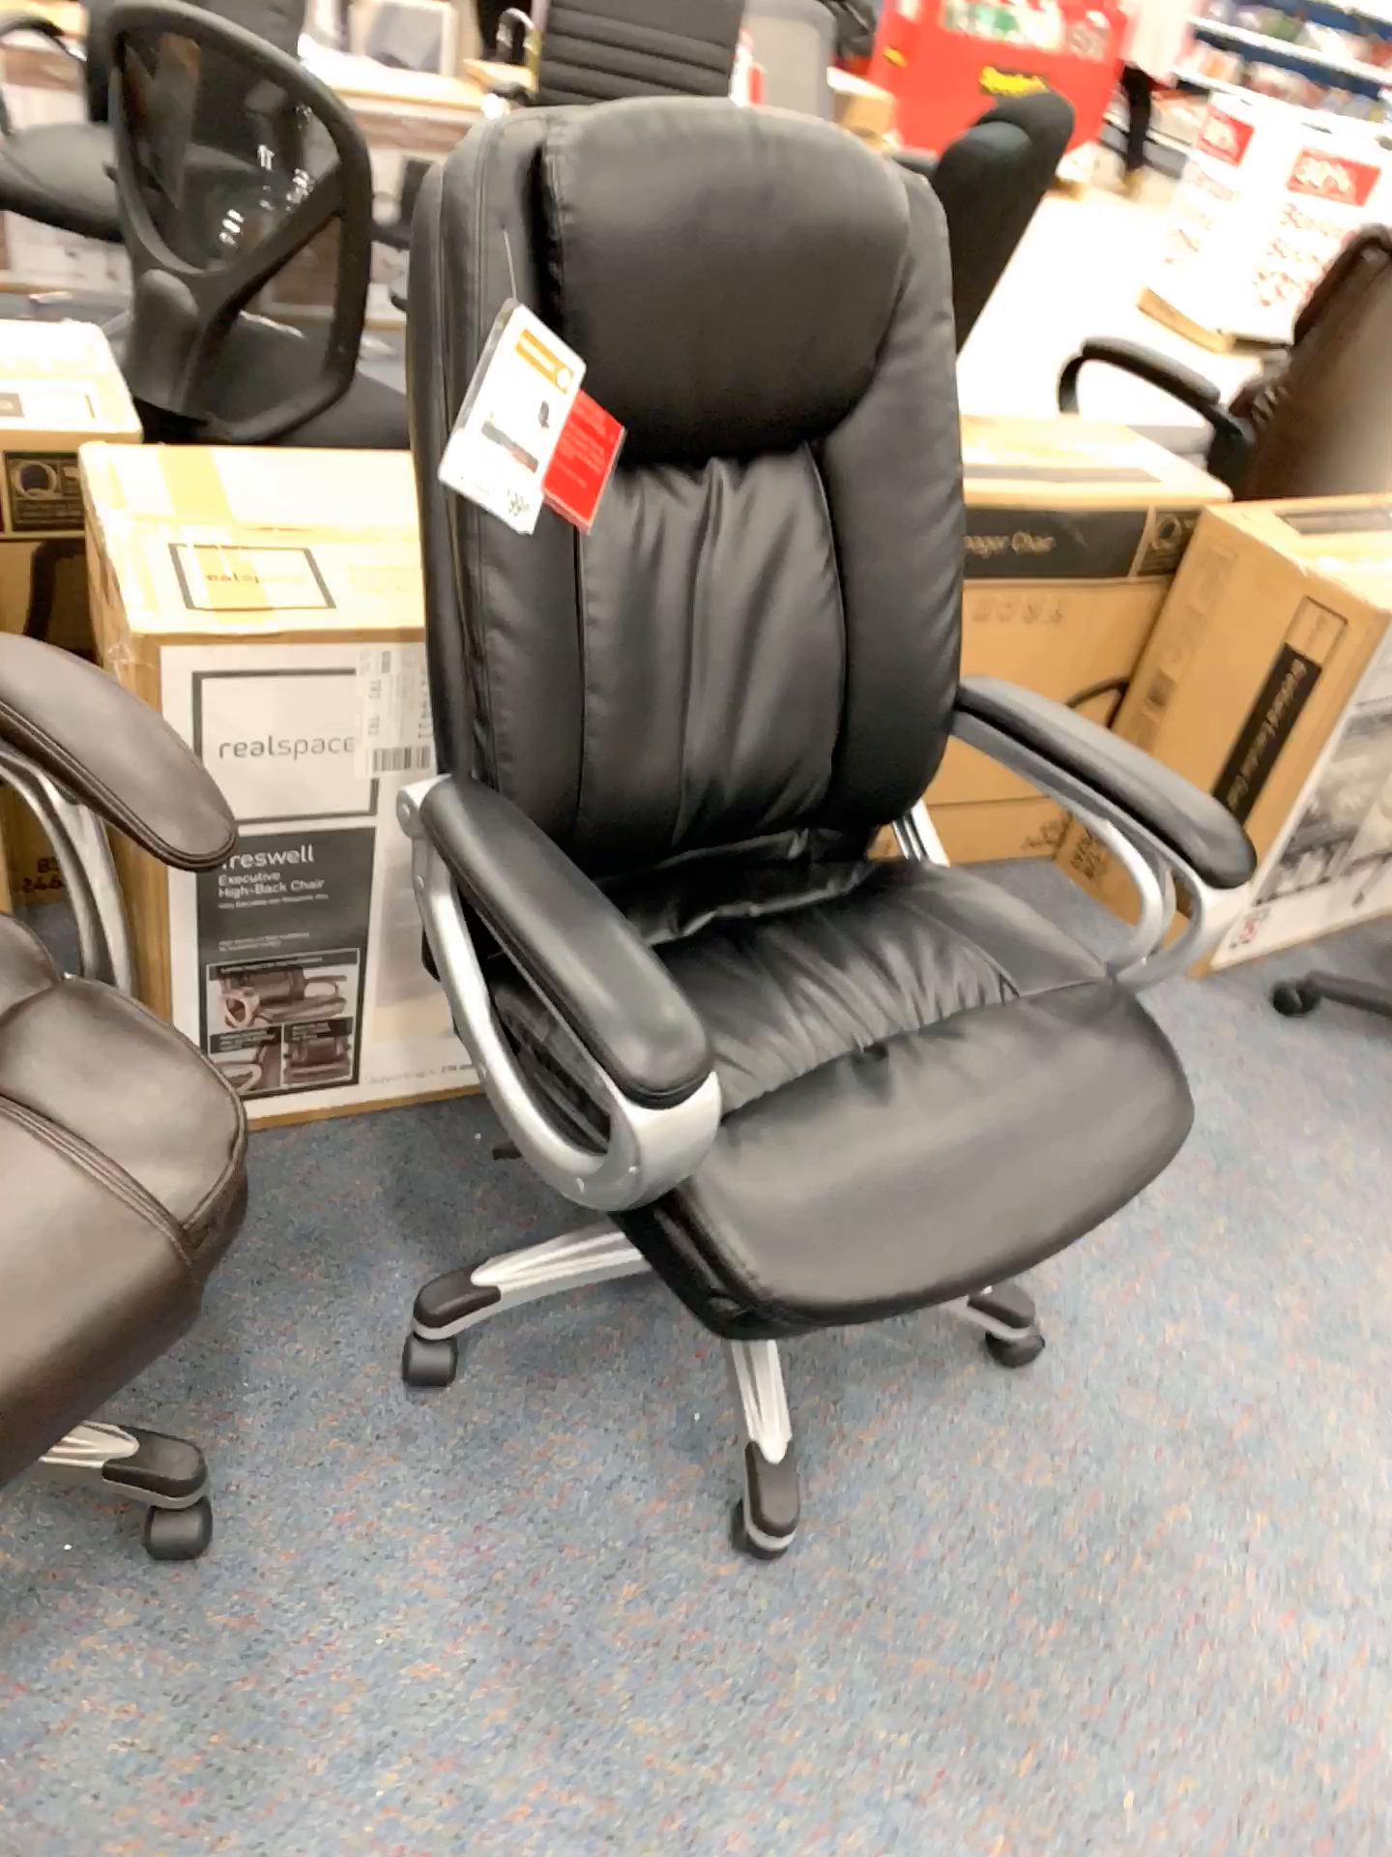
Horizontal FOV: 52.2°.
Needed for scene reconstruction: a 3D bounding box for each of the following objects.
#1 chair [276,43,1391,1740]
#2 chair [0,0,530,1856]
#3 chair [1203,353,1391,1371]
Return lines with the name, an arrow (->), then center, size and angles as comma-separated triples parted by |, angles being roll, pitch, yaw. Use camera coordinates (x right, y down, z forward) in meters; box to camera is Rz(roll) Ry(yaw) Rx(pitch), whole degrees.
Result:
chair -> 0.106, -0.036, 1.205 | 0.676, 1.055, 0.659 | -17, 46, -34
chair -> -0.703, 0.033, 0.854 | 0.789, 1.045, 0.757 | 35, 42, 27
chair -> 1.338, -0.138, 1.795 | 0.839, 0.926, 0.667 | -15, 45, -32
